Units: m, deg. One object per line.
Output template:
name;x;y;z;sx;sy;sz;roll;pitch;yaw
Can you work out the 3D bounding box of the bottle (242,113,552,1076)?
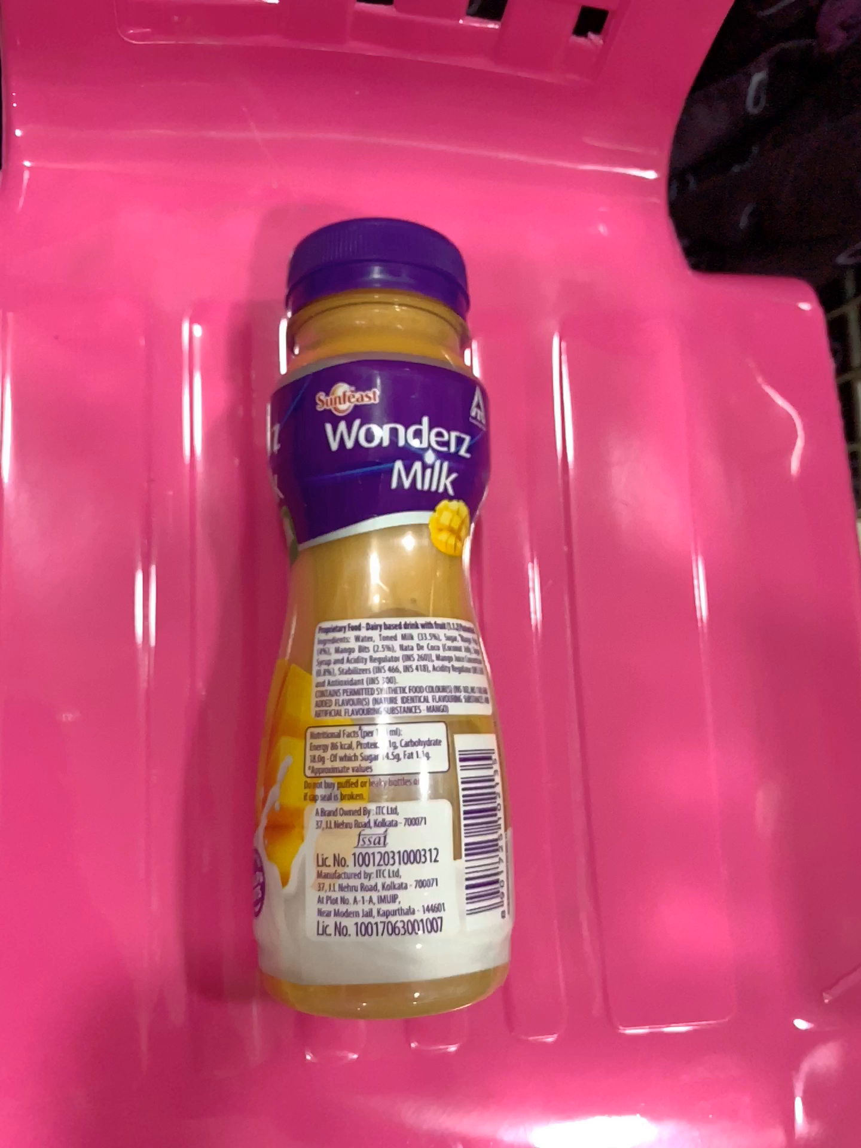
bottle;-0.011;0.002;0.179;0.050;0.050;0.160;0;84;-11
